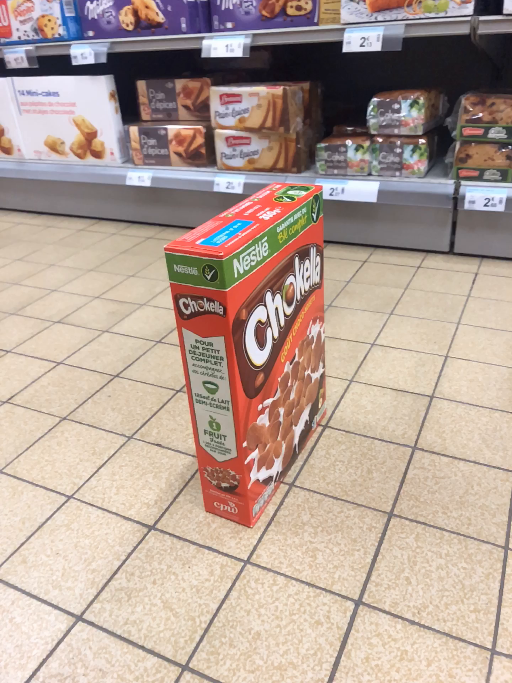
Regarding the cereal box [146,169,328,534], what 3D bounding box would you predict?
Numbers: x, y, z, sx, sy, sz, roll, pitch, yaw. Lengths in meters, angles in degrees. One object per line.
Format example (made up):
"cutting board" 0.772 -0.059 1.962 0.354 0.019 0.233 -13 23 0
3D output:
"cereal box" 0.003 0.002 0.534 0.060 0.278 0.201 11 32 26
